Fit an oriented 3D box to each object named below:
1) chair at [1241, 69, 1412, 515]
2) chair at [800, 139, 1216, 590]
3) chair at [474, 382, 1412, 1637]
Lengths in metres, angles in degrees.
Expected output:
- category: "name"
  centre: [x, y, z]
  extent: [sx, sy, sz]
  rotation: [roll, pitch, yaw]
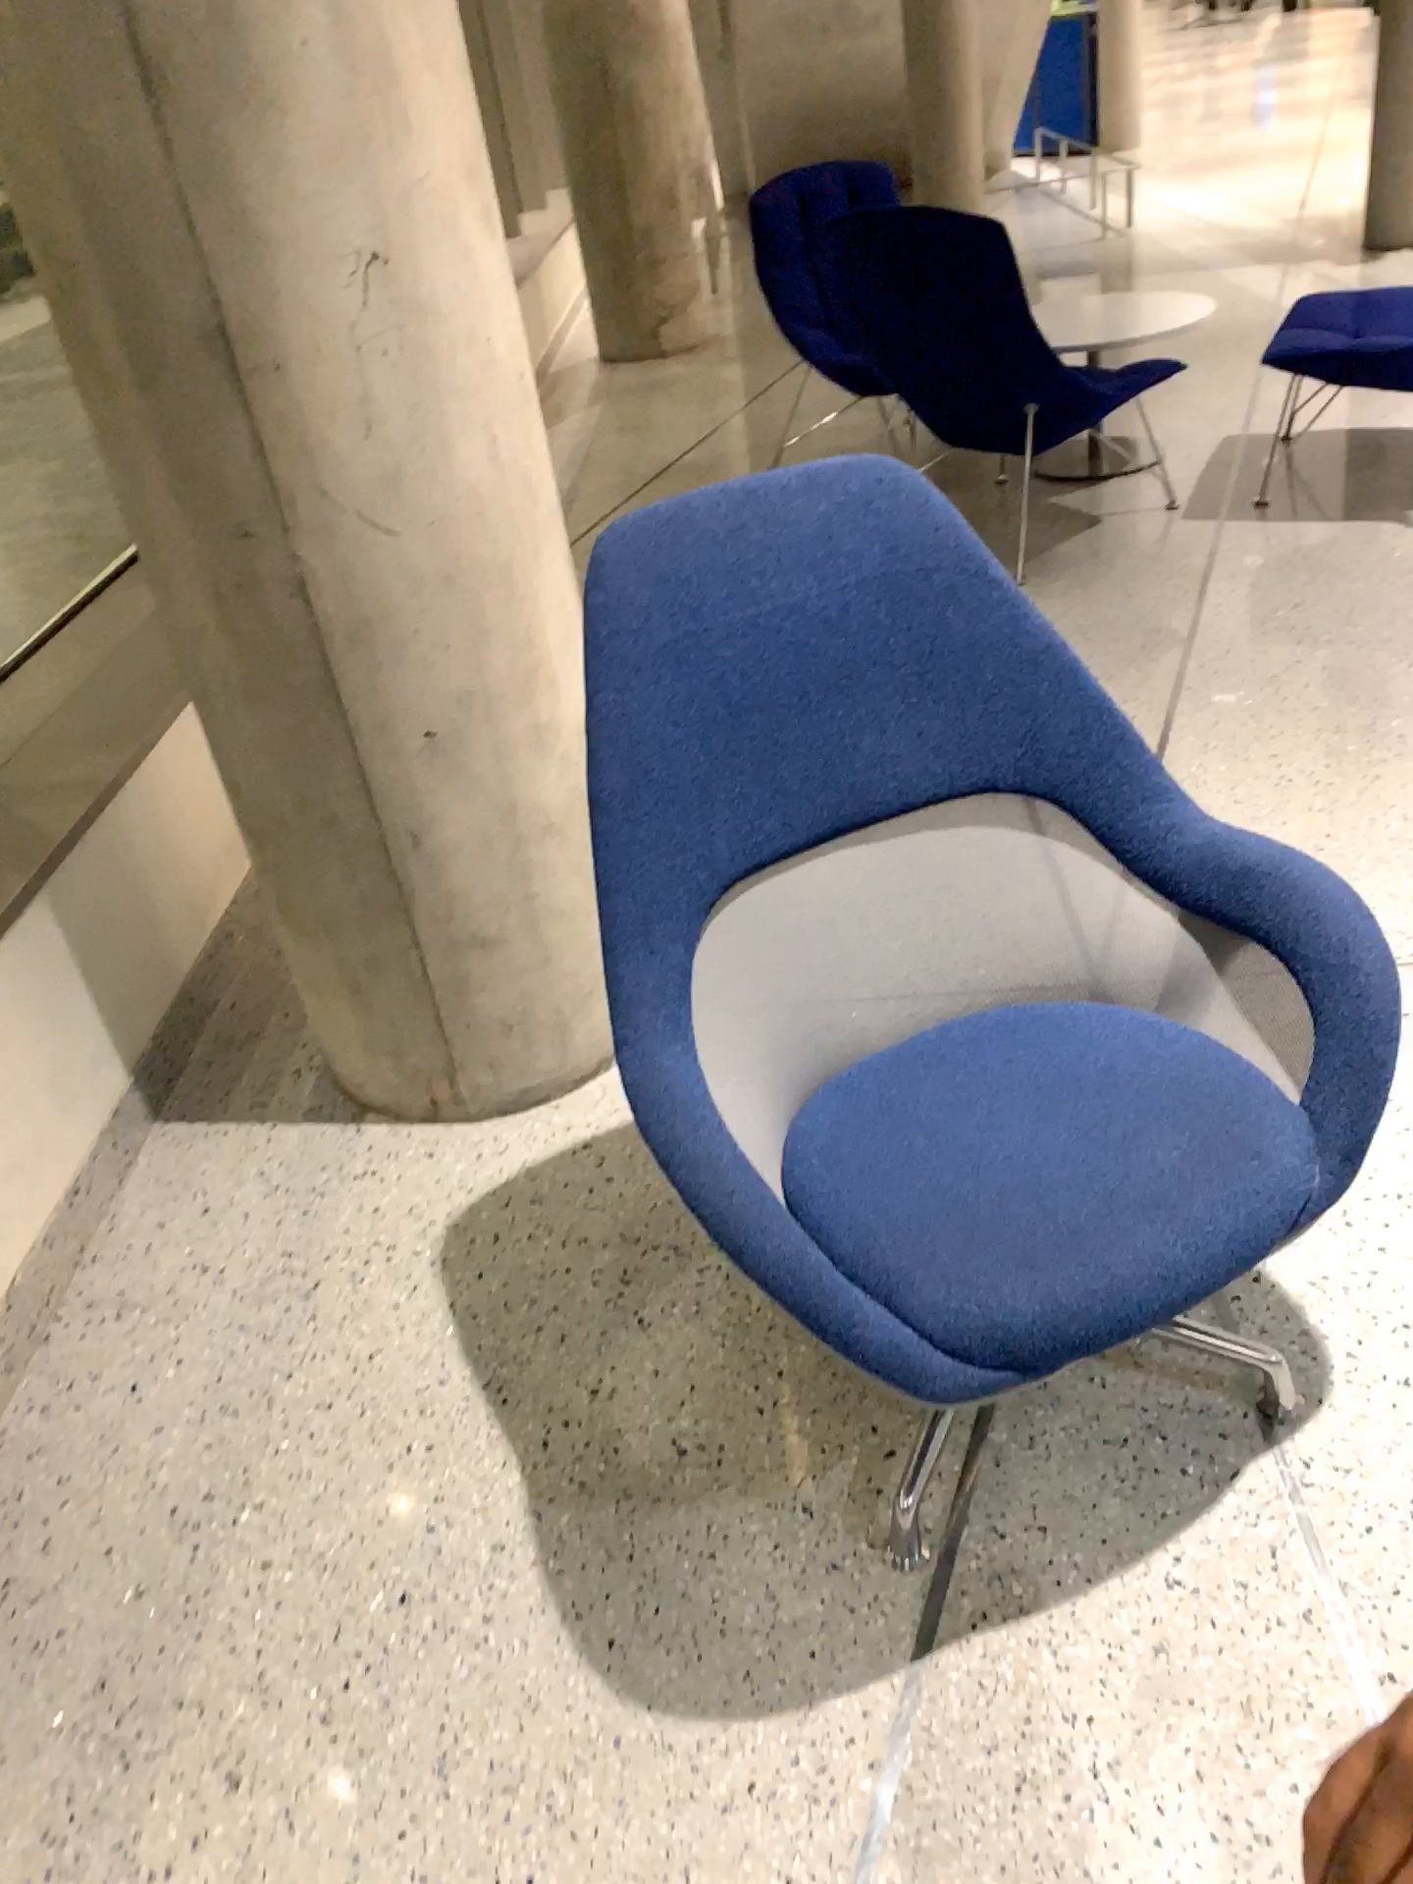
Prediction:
- category: "chair"
  centre: [1.777, -1.604, 3.602]
  extent: [0.725, 0.834, 0.743]
  rotation: [6, 35, 25]
- category: "chair"
  centre: [0.769, -1.472, 3.663]
  extent: [0.696, 0.854, 0.682]
  rotation: [-28, 36, -27]
- category: "chair"
  centre: [0.273, 0.033, 1.525]
  extent: [0.716, 0.961, 0.639]
  rotation: [-17, 32, -12]
